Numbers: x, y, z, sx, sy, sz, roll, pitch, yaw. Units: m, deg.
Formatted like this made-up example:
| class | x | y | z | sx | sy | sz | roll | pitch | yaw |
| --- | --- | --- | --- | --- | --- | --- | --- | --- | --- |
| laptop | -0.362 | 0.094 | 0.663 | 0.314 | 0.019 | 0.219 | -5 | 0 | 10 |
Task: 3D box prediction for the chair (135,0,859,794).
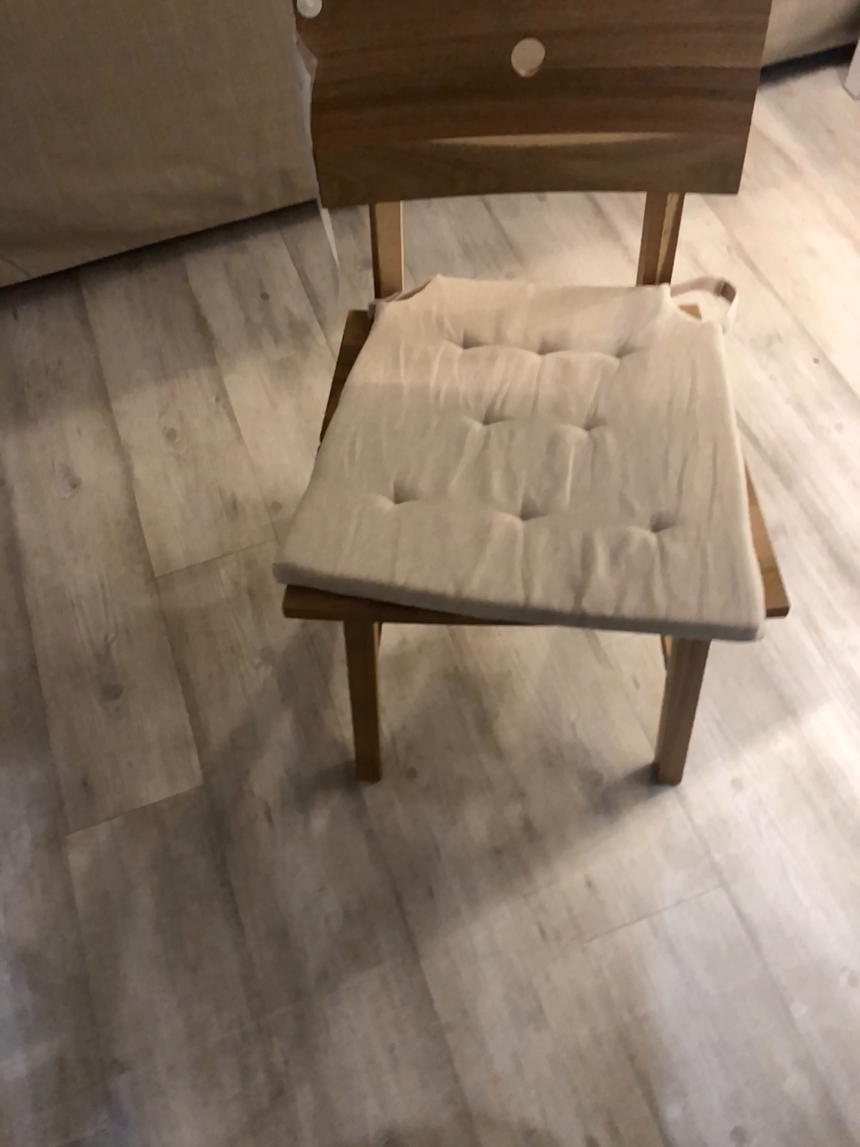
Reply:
| class | x | y | z | sx | sy | sz | roll | pitch | yaw |
| --- | --- | --- | --- | --- | --- | --- | --- | --- | --- |
| chair | 0.106 | -0.141 | 0.900 | 0.500 | 0.599 | 0.531 | -1 | 60 | 3 |
